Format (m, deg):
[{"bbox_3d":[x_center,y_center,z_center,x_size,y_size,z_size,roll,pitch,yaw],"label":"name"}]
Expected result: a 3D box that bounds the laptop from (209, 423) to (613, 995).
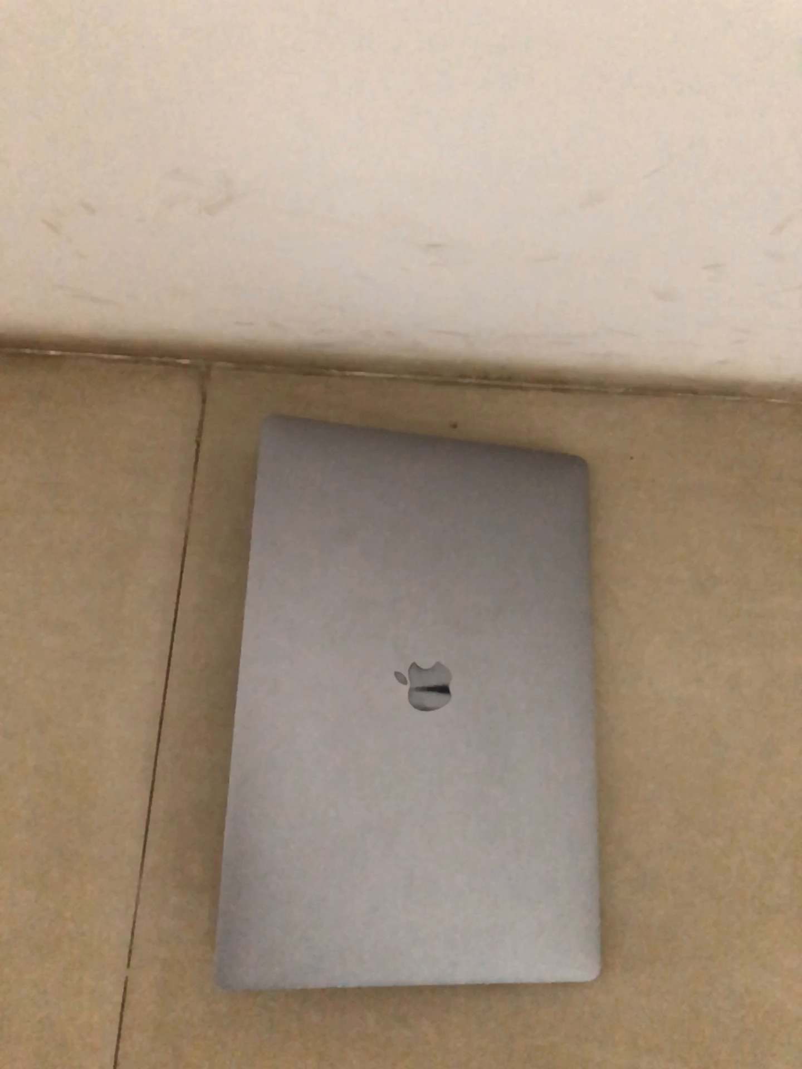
[{"bbox_3d":[0.014,0.102,0.578,0.232,0.057,0.335,4,75,0],"label":"laptop"}]
